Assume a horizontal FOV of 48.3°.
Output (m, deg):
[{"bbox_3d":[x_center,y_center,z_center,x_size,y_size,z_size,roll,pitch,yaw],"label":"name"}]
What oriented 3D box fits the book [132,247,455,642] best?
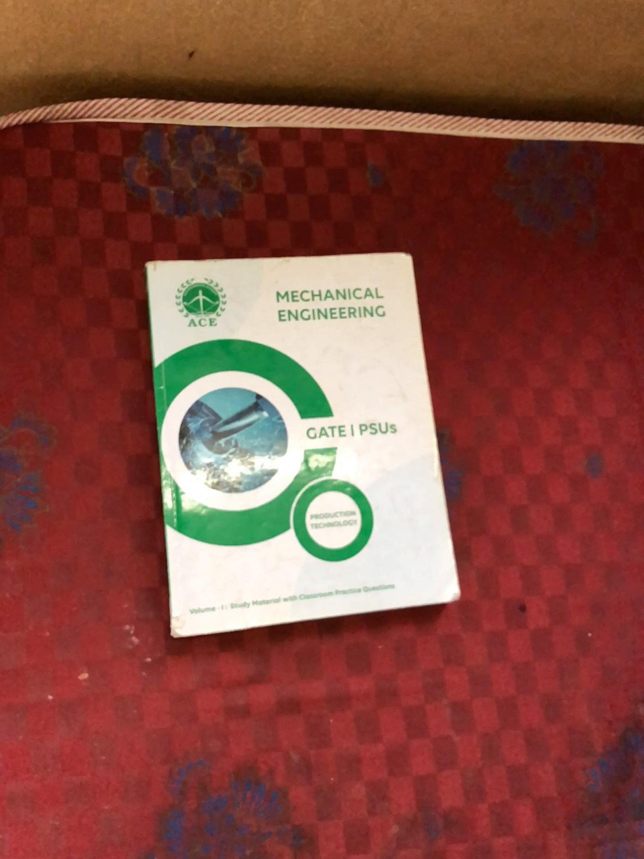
[{"bbox_3d":[-0.025,0.001,0.543,0.210,0.030,0.280,-4,78,-12],"label":"book"}]
